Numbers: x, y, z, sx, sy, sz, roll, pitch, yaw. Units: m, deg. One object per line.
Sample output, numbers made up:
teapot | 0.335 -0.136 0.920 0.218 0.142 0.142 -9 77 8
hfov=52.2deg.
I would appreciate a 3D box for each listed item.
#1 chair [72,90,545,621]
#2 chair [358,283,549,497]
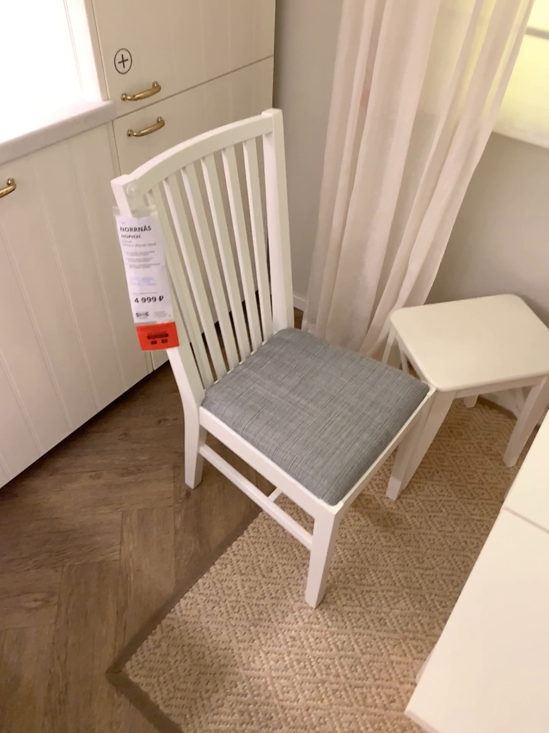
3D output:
chair | 0.051 -0.006 1.300 0.621 0.915 0.552 31 51 24
chair | 0.556 0.061 1.623 0.460 0.388 0.402 -8 47 -11
